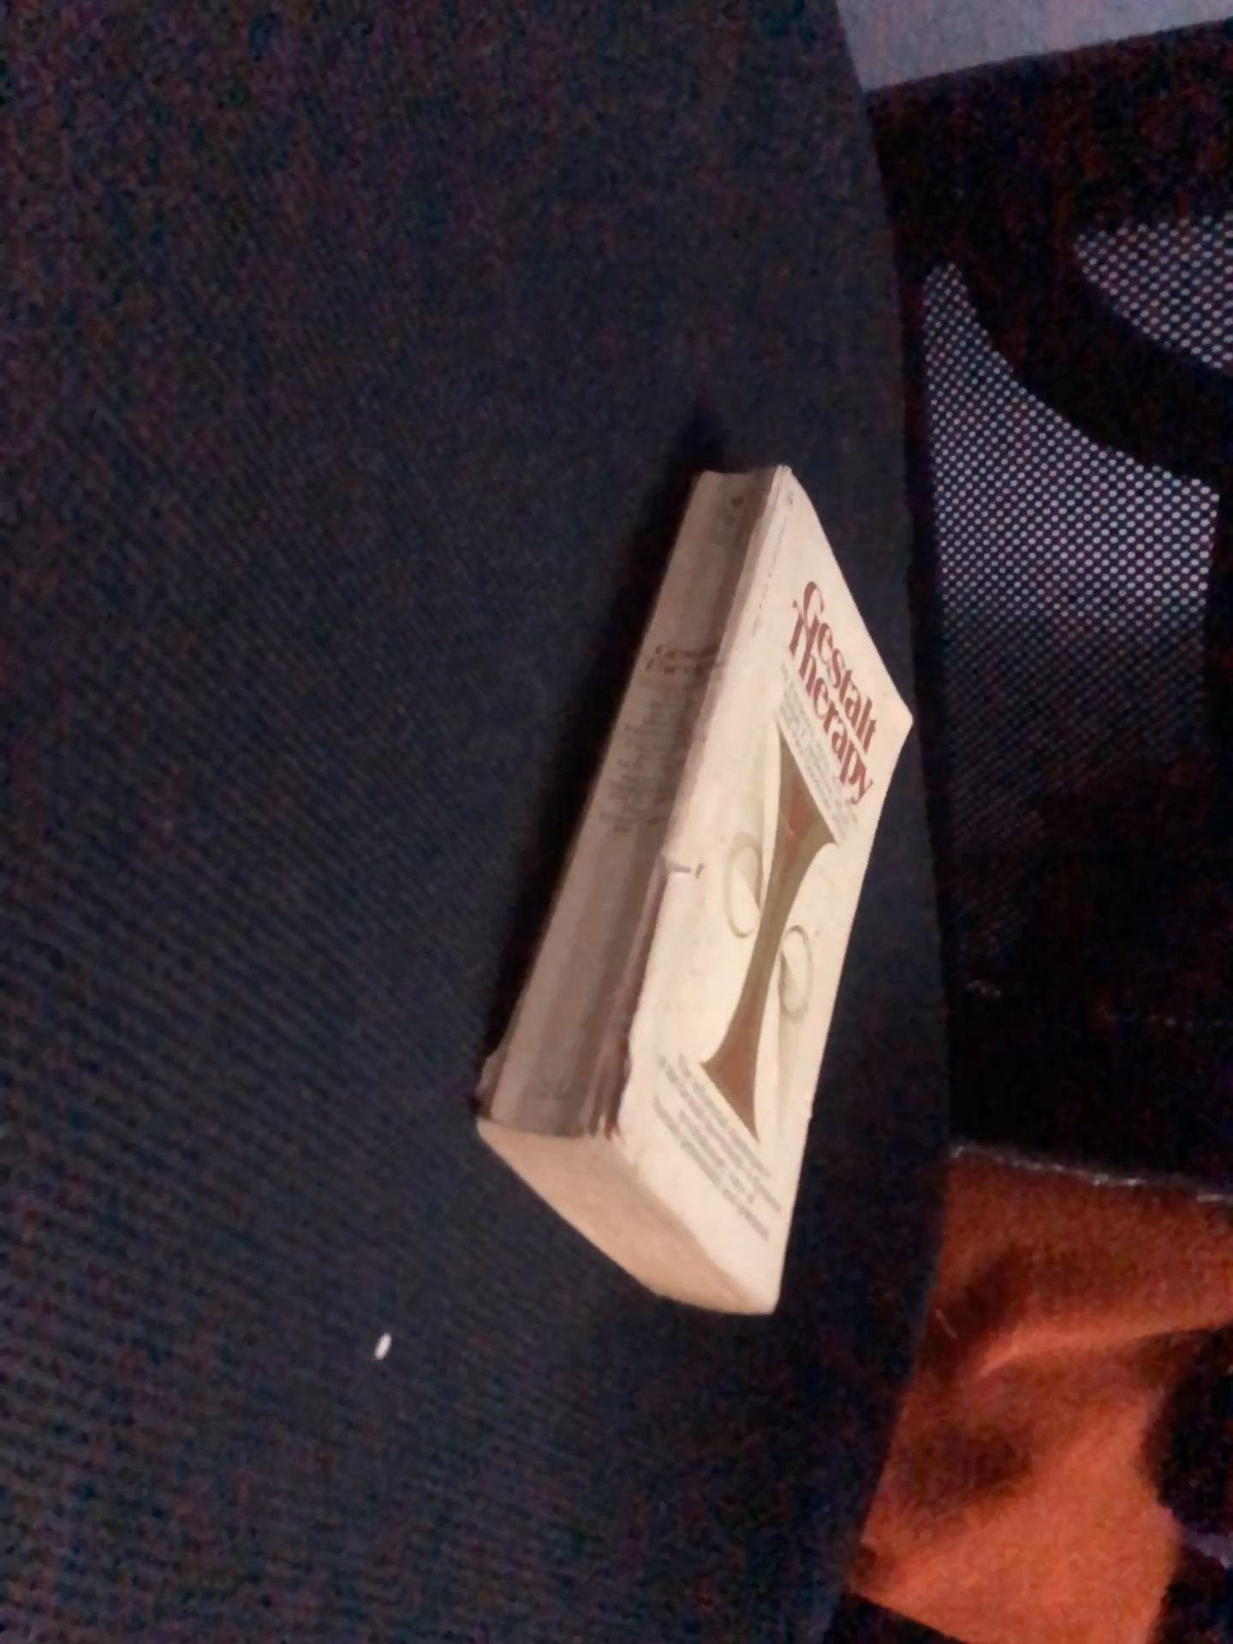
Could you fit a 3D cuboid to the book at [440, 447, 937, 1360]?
[{"bbox_3d":[0.032,0.019,0.333,0.121,0.034,0.183,53,45,-45],"label":"book"}]
